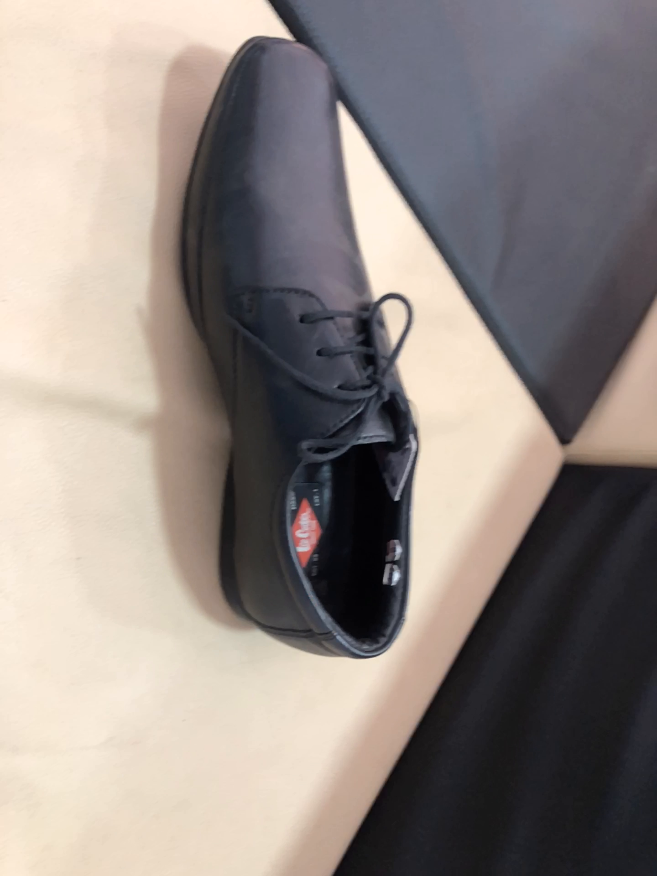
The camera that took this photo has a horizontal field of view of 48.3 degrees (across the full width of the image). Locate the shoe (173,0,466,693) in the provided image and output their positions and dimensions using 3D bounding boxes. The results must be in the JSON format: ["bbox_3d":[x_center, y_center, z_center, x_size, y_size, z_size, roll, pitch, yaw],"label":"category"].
[{"bbox_3d":[-0.004,-0.046,0.316,0.091,0.080,0.270,-3,93,-37],"label":"shoe"}]
